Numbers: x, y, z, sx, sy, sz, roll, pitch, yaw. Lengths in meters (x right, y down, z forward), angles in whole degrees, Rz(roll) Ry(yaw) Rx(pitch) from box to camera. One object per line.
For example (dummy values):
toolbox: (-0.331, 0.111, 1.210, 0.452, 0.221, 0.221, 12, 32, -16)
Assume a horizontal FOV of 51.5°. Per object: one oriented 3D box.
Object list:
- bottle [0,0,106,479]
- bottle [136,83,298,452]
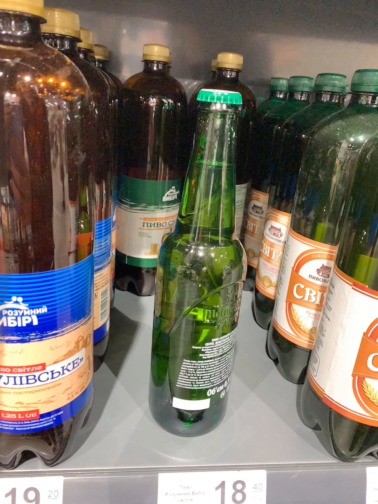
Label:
bottle: (-0.092, -0.005, 0.236, 0.080, 0.288, 0.074, 4, 21, -2)
bottle: (0.010, 0.016, 0.285, 0.067, 0.248, 0.061, 4, 21, -2)
